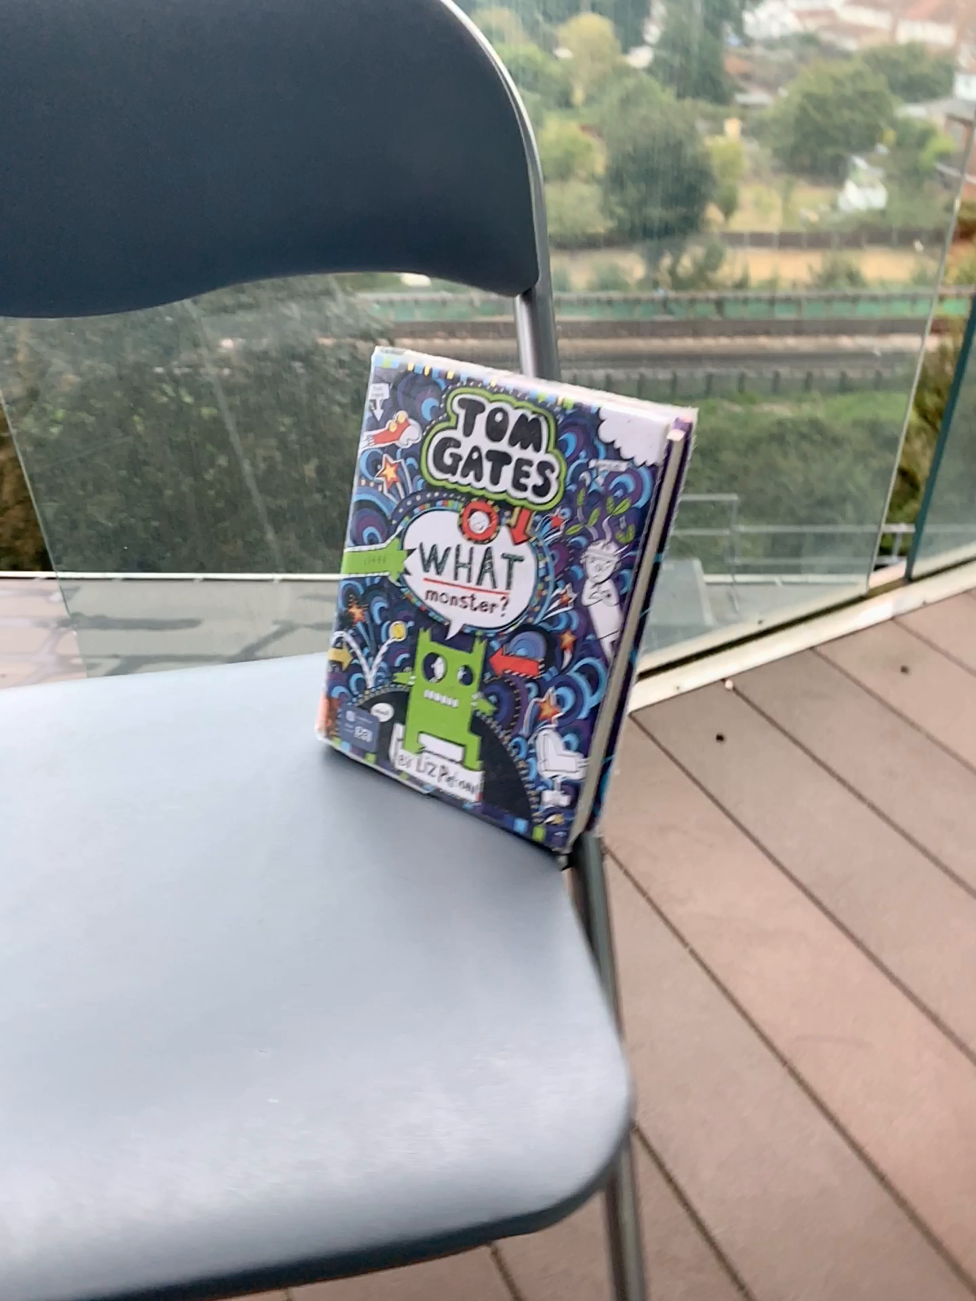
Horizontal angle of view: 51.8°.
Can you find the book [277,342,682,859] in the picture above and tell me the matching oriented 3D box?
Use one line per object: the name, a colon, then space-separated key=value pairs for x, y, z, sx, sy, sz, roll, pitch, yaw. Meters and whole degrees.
book: x=-0.013 y=-0.029 z=0.476 sx=0.160 sy=0.199 sz=0.050 roll=19 pitch=20 yaw=27
